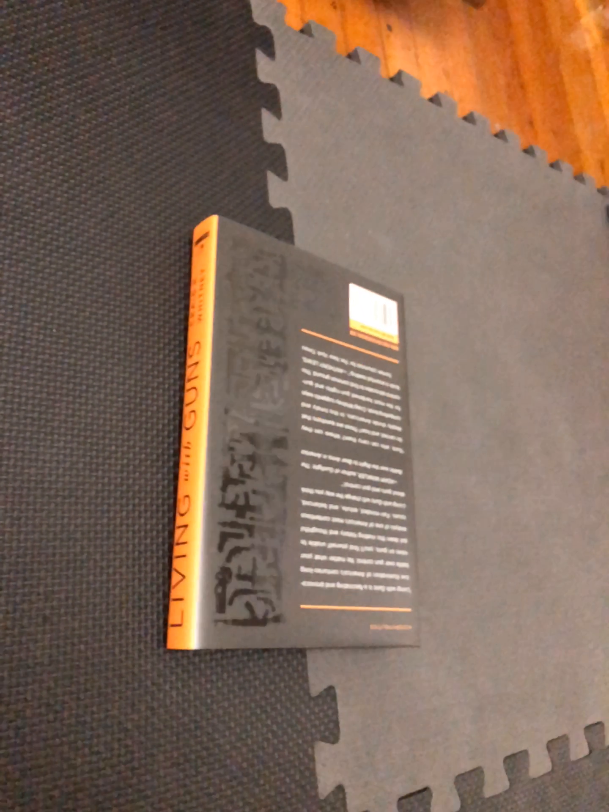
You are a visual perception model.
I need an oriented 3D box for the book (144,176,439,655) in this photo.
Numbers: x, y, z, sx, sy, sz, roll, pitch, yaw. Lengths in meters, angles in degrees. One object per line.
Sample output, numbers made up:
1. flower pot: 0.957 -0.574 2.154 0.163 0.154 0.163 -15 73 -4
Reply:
1. book: 0.001 0.012 0.412 0.170 0.040 0.260 15 65 -35
